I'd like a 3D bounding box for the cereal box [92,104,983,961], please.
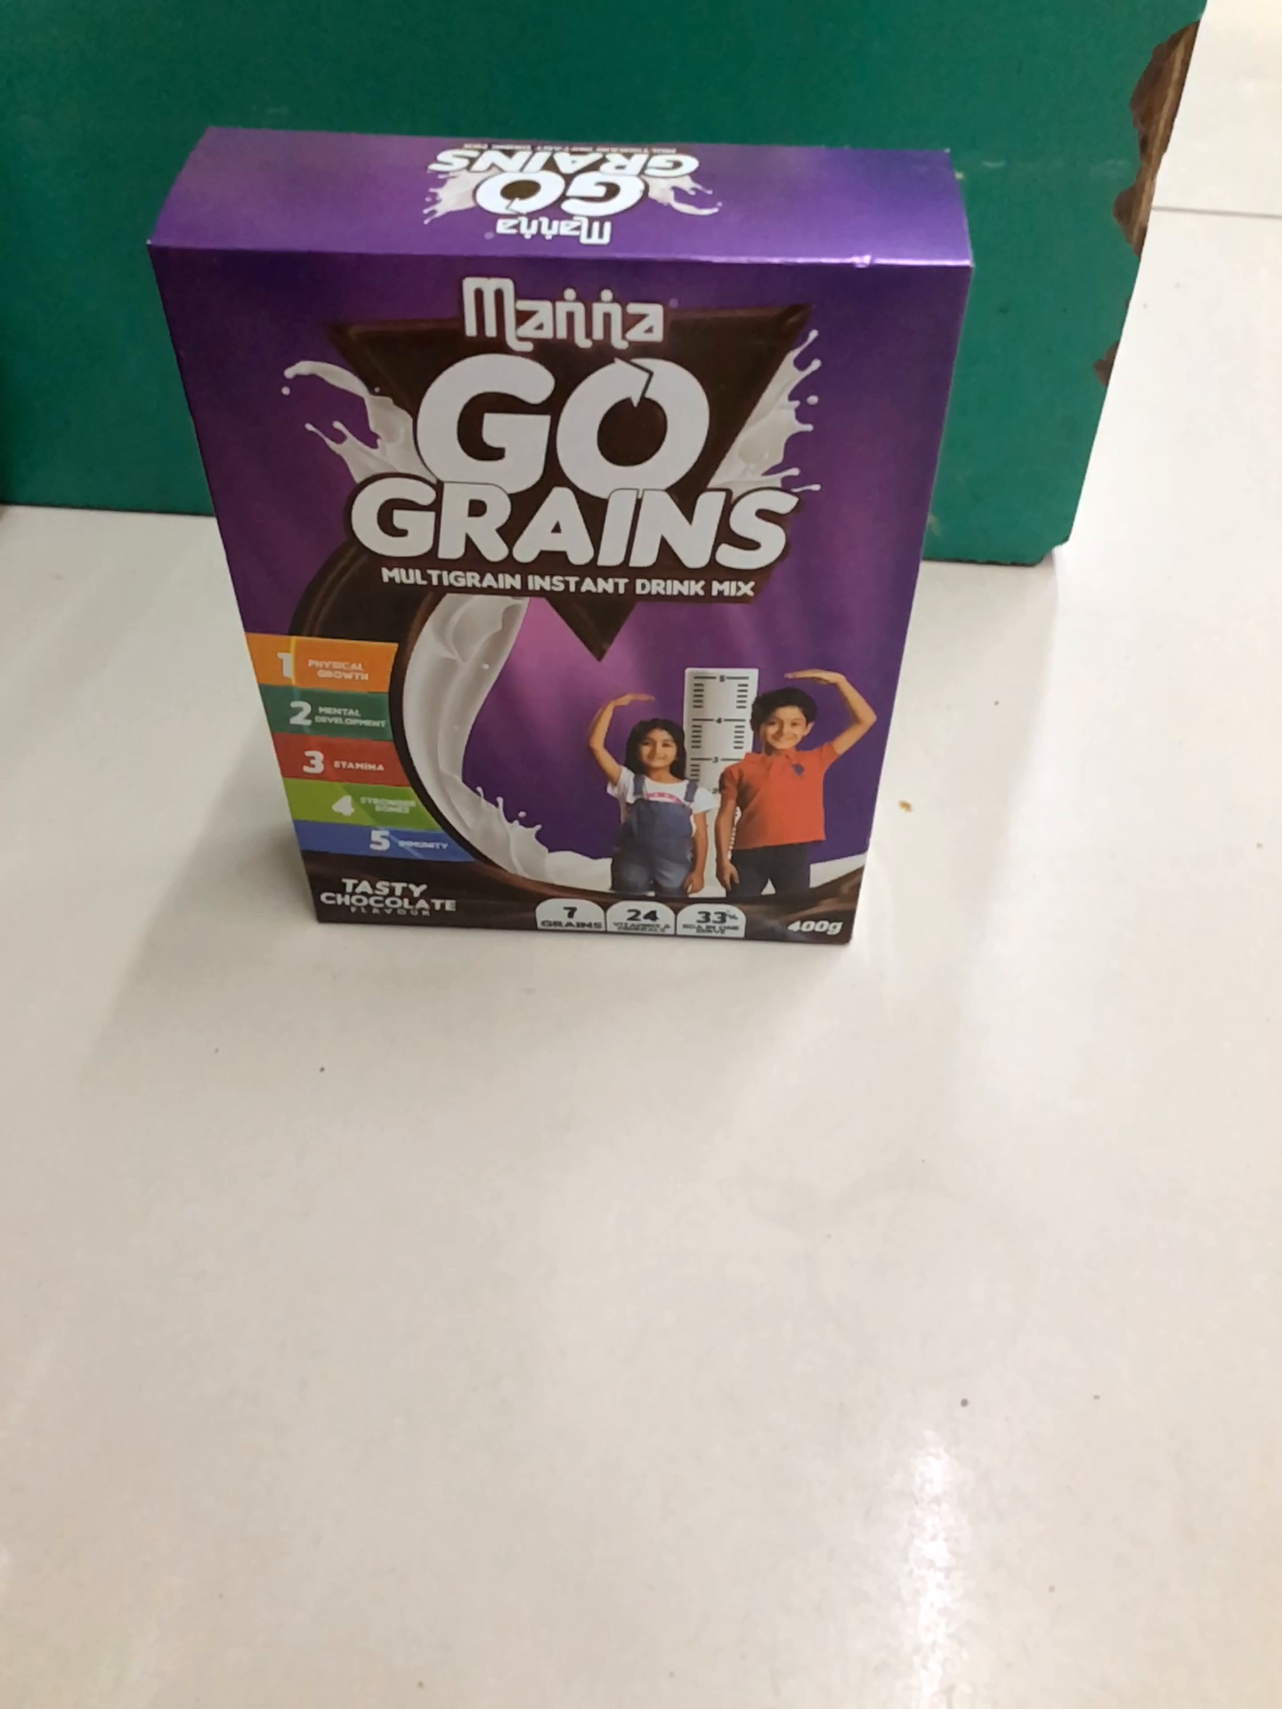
[{"bbox_3d":[-0.018,-0.059,0.323,0.150,0.189,0.050,2,45,0],"label":"cereal box"}]
